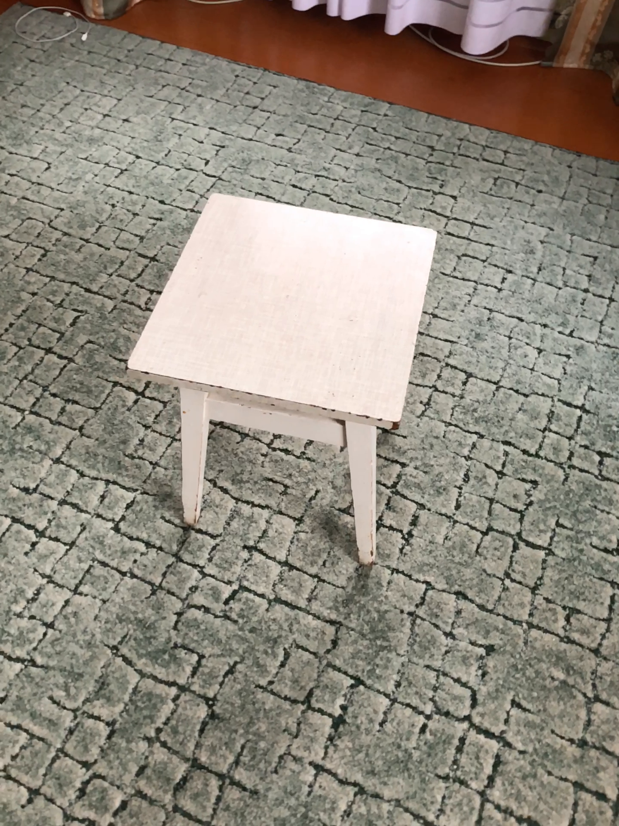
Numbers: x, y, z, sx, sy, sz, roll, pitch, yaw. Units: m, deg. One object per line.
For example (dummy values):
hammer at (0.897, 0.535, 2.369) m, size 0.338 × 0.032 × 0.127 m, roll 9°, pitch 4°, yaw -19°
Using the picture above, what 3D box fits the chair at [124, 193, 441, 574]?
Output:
chair at (-0.021, -0.024, 1.053) m, size 0.332 × 0.447 × 0.336 m, roll 12°, pitch 57°, yaw 6°
